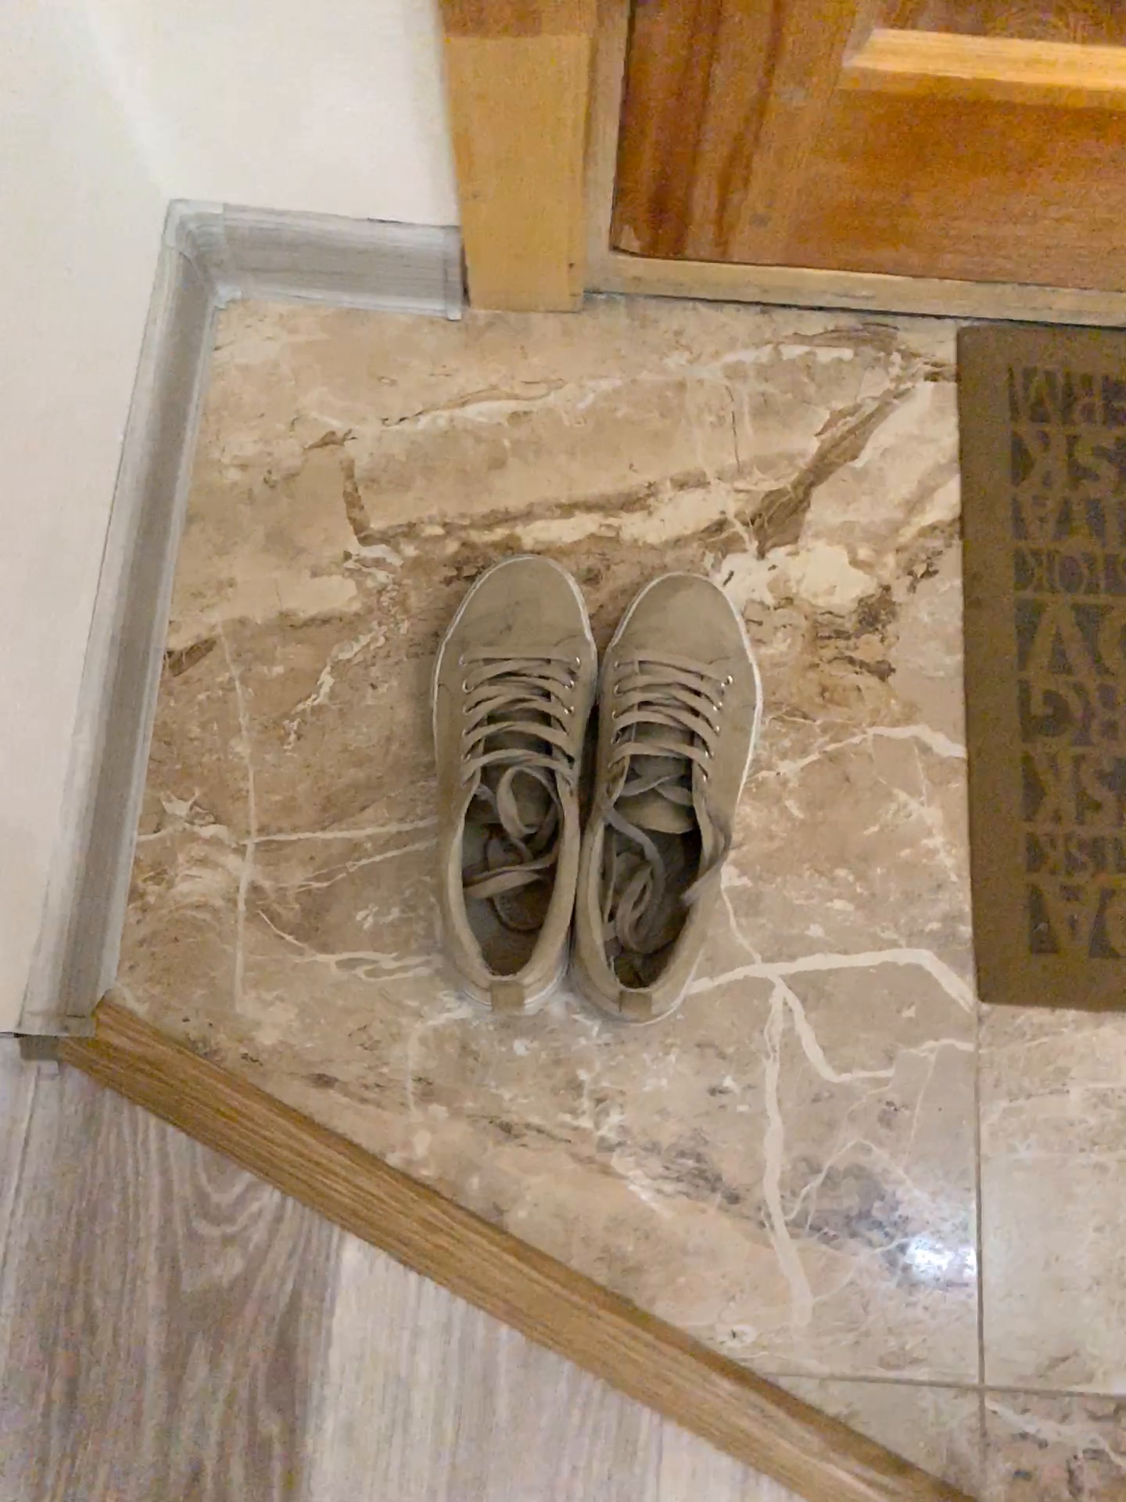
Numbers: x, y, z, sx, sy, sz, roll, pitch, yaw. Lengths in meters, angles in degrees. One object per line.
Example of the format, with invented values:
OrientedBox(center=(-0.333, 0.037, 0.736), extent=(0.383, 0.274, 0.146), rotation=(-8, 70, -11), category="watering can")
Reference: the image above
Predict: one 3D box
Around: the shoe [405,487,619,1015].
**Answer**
OrientedBox(center=(-0.022, 0.004, 0.565), extent=(0.090, 0.100, 0.240), rotation=(1, 76, -1), category="shoe")

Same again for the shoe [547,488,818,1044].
OrientedBox(center=(0.055, 0.012, 0.556), extent=(0.090, 0.100, 0.240), rotation=(8, 76, 1), category="shoe")
